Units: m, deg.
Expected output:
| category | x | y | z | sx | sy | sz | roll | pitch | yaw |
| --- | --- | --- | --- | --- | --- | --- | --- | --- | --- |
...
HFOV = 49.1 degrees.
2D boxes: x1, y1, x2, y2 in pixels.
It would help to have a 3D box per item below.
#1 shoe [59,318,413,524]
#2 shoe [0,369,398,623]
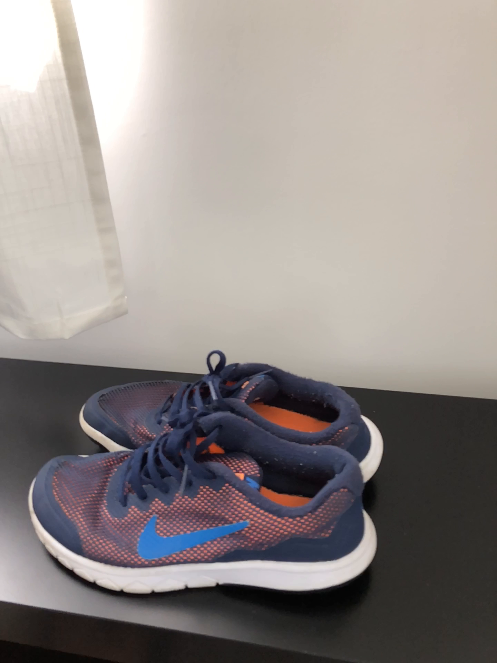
| category | x | y | z | sx | sy | sz | roll | pitch | yaw |
| --- | --- | --- | --- | --- | --- | --- | --- | --- | --- |
| shoe | -0.005 | 0.065 | 0.450 | 0.260 | 0.089 | 0.100 | 6 | 32 | 13 |
| shoe | -0.040 | 0.105 | 0.382 | 0.260 | 0.089 | 0.120 | 3 | 32 | 7 |
